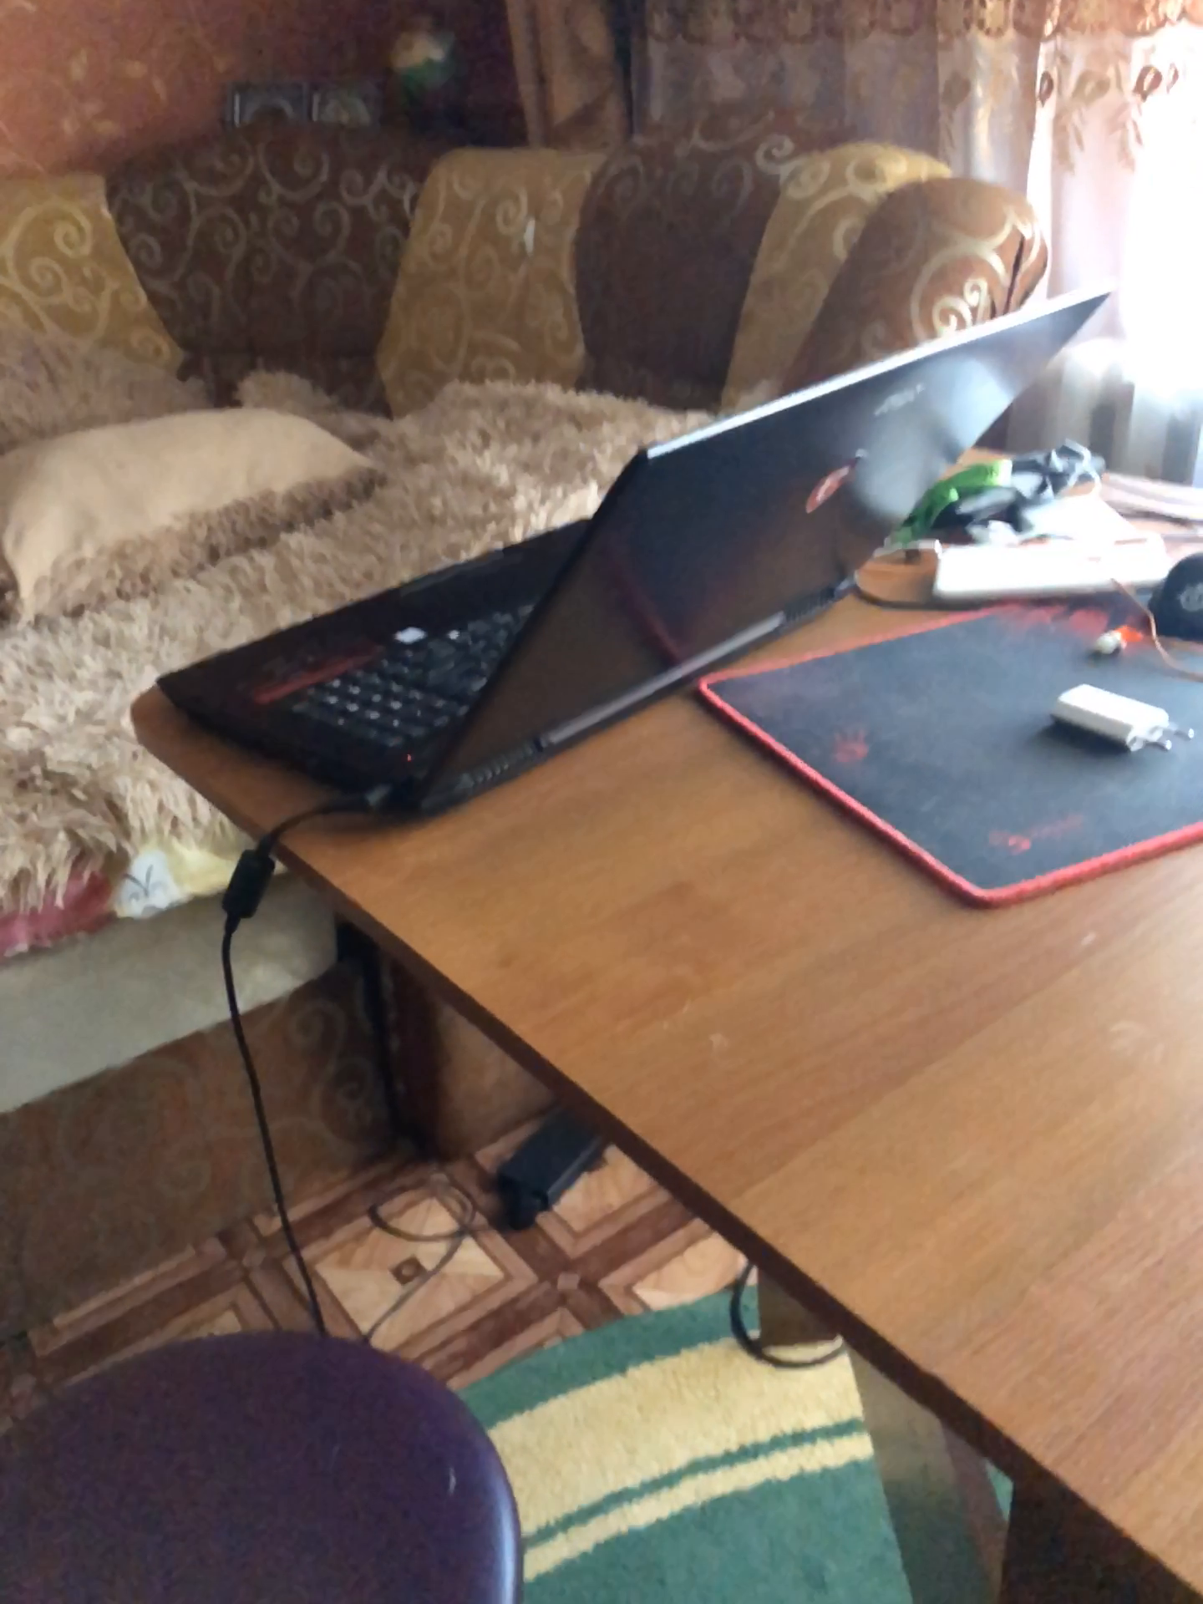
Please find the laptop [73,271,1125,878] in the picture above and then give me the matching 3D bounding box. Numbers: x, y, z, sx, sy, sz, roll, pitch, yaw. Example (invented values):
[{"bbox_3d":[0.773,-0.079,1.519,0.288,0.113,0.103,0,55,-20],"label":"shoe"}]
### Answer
[{"bbox_3d":[-0.003,-0.173,0.741,0.410,0.174,0.374,20,37,39],"label":"laptop"}]
